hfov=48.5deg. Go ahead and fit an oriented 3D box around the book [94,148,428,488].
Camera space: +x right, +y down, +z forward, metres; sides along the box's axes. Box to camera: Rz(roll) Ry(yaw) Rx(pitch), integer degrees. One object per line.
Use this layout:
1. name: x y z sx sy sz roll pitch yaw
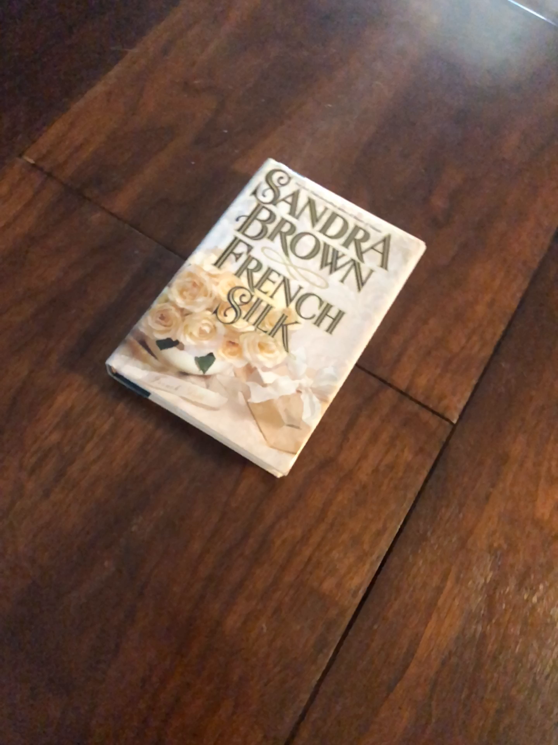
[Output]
1. book: -0.006 -0.054 0.501 0.161 0.033 0.240 31 68 6
